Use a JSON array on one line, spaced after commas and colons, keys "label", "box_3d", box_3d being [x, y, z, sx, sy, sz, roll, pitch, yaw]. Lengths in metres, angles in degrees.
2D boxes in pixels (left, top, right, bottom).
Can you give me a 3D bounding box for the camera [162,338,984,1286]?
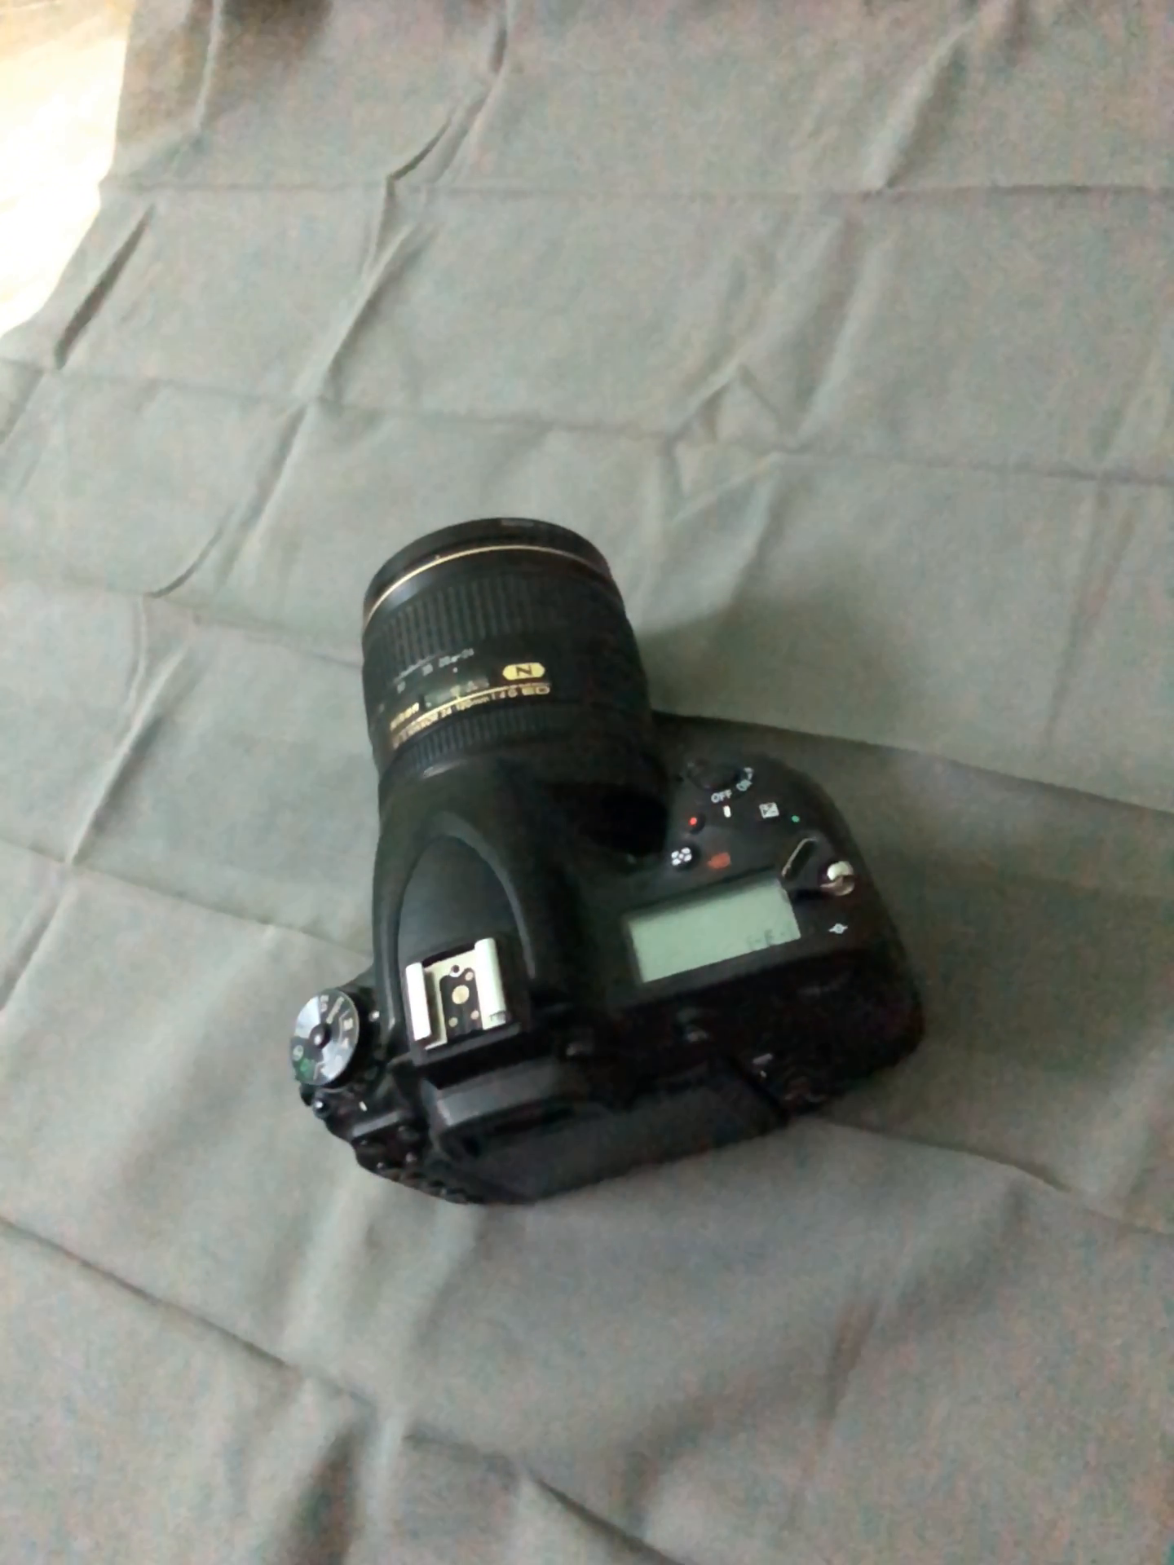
[{"label": "camera", "box_3d": [-0.004, 0.019, 0.331, 0.146, 0.134, 0.164, -19, 59, 13]}]
